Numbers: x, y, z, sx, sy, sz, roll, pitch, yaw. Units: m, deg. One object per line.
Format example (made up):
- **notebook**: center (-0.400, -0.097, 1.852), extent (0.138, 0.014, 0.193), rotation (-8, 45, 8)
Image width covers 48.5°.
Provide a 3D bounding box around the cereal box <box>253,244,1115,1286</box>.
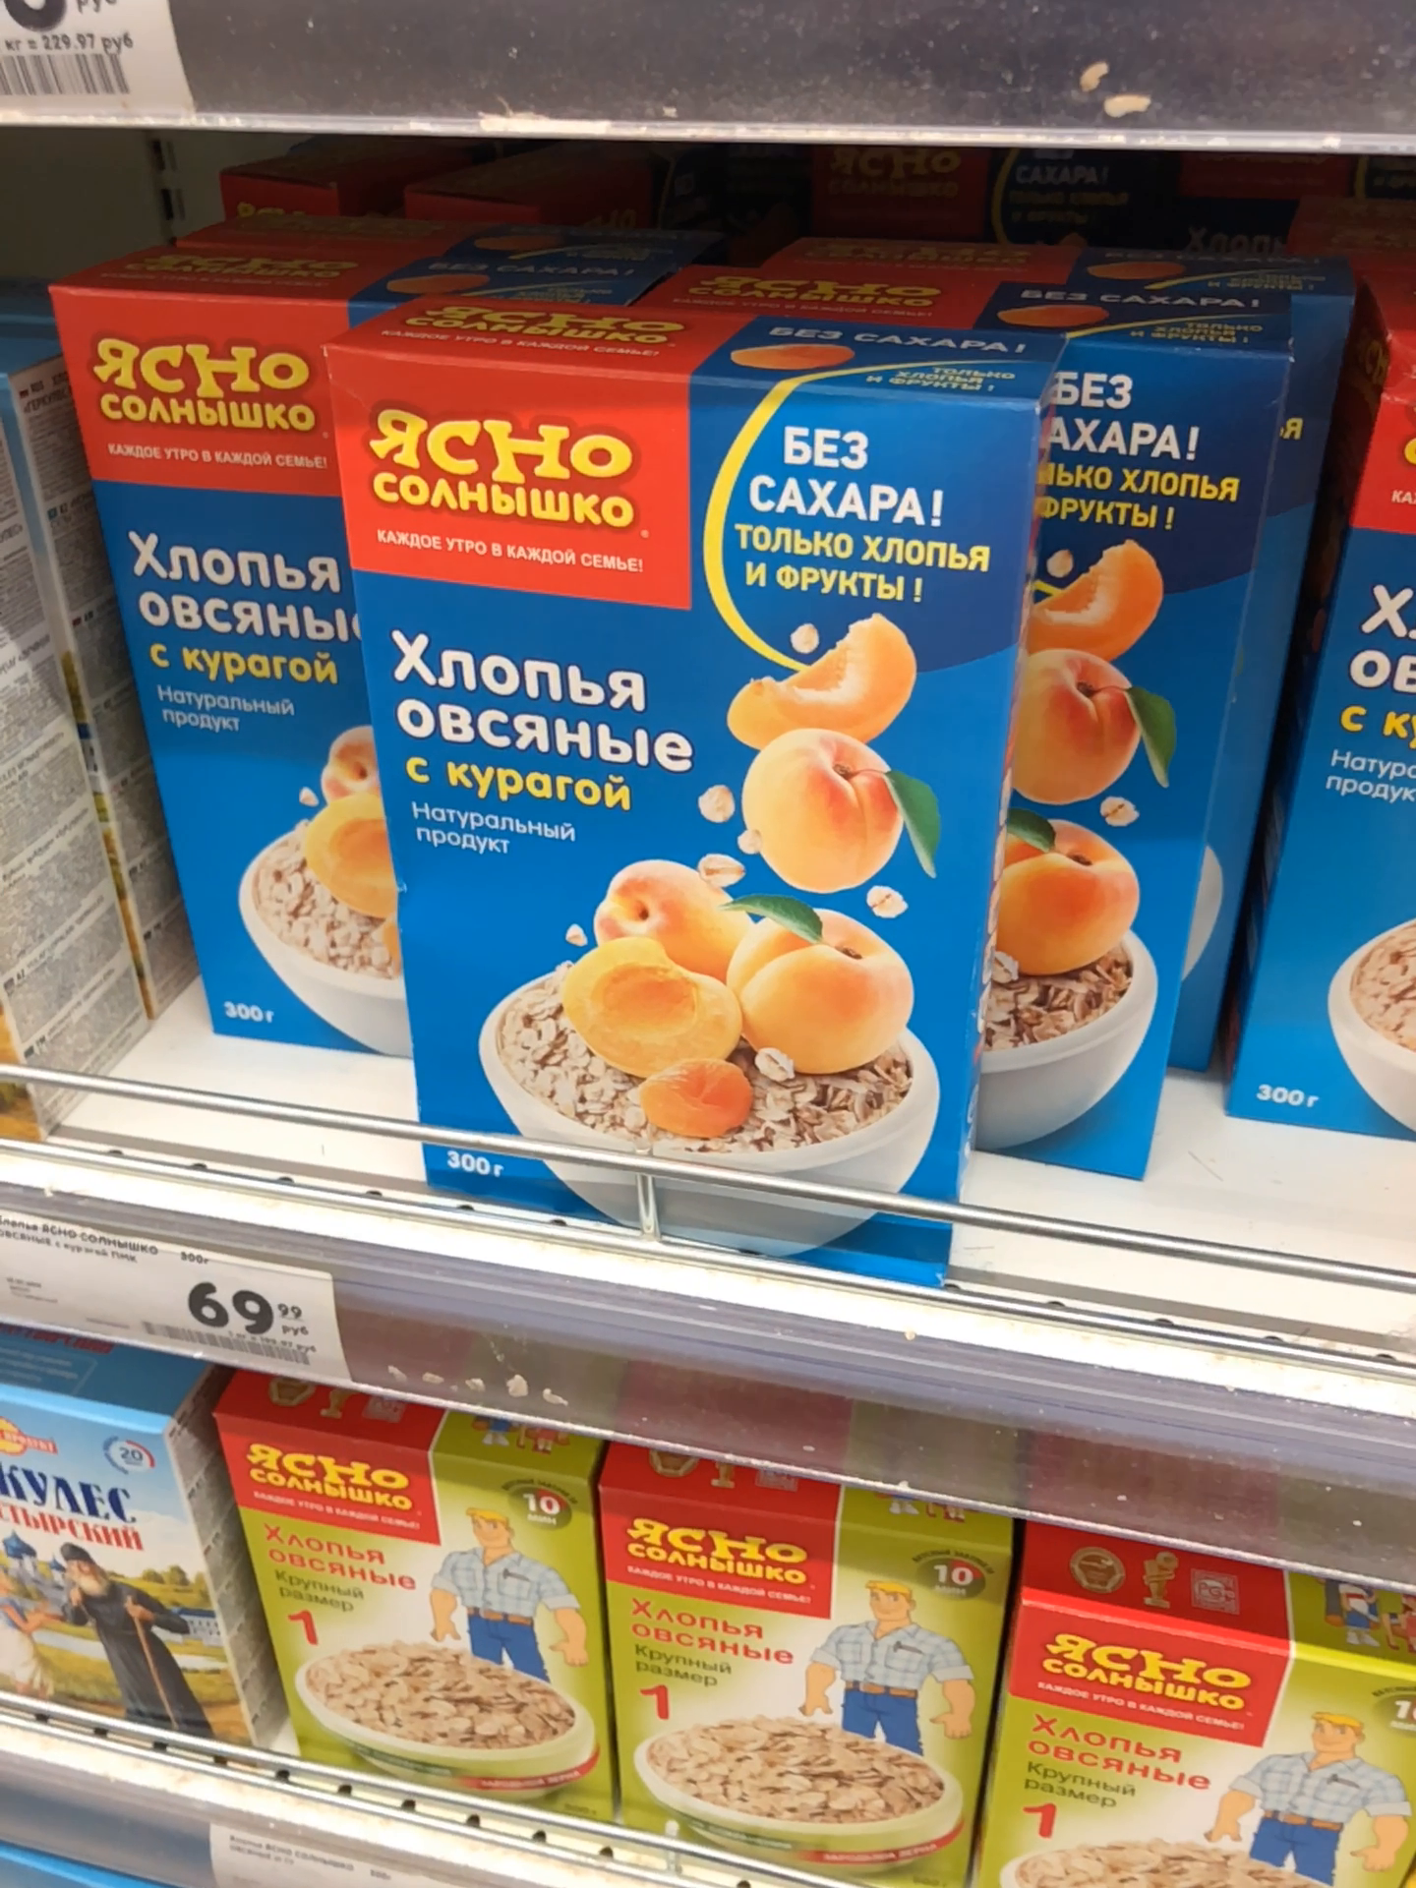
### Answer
- **cereal box**: center (-0.003, -0.033, 0.344), extent (0.150, 0.209, 0.050), rotation (9, 34, 14)
